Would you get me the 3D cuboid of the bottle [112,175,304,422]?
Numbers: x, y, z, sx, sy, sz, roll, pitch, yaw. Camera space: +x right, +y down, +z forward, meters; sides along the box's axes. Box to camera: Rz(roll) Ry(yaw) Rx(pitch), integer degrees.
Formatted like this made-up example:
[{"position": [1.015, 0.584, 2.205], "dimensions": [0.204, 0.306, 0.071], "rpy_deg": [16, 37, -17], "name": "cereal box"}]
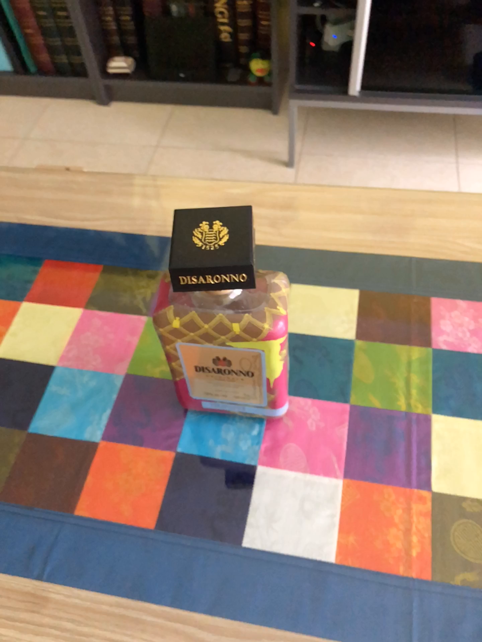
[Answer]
[{"position": [-0.012, -0.005, 0.464], "dimensions": [0.120, 0.229, 0.080], "rpy_deg": [5, 55, 9], "name": "bottle"}]
